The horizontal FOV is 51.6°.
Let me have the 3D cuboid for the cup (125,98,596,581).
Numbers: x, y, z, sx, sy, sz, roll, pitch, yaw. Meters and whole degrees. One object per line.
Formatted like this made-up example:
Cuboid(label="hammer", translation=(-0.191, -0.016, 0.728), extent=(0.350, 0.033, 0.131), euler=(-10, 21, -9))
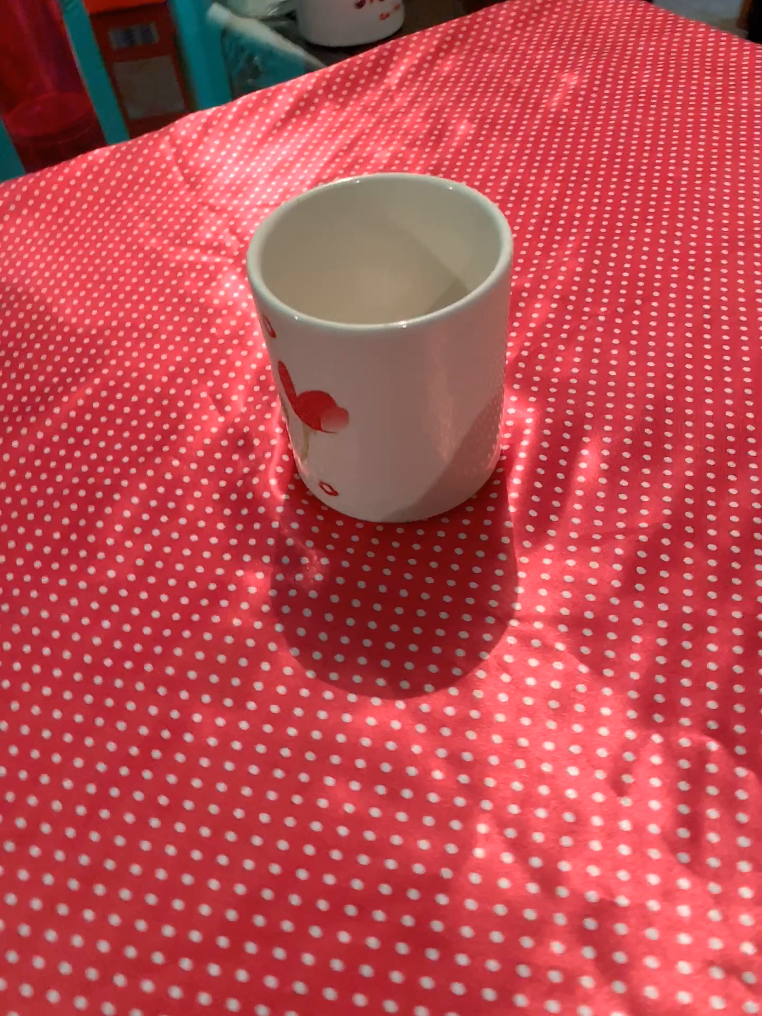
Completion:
Cuboid(label="cup", translation=(-0.008, -0.062, 0.273), extent=(0.090, 0.090, 0.120), euler=(-33, 55, -19))
